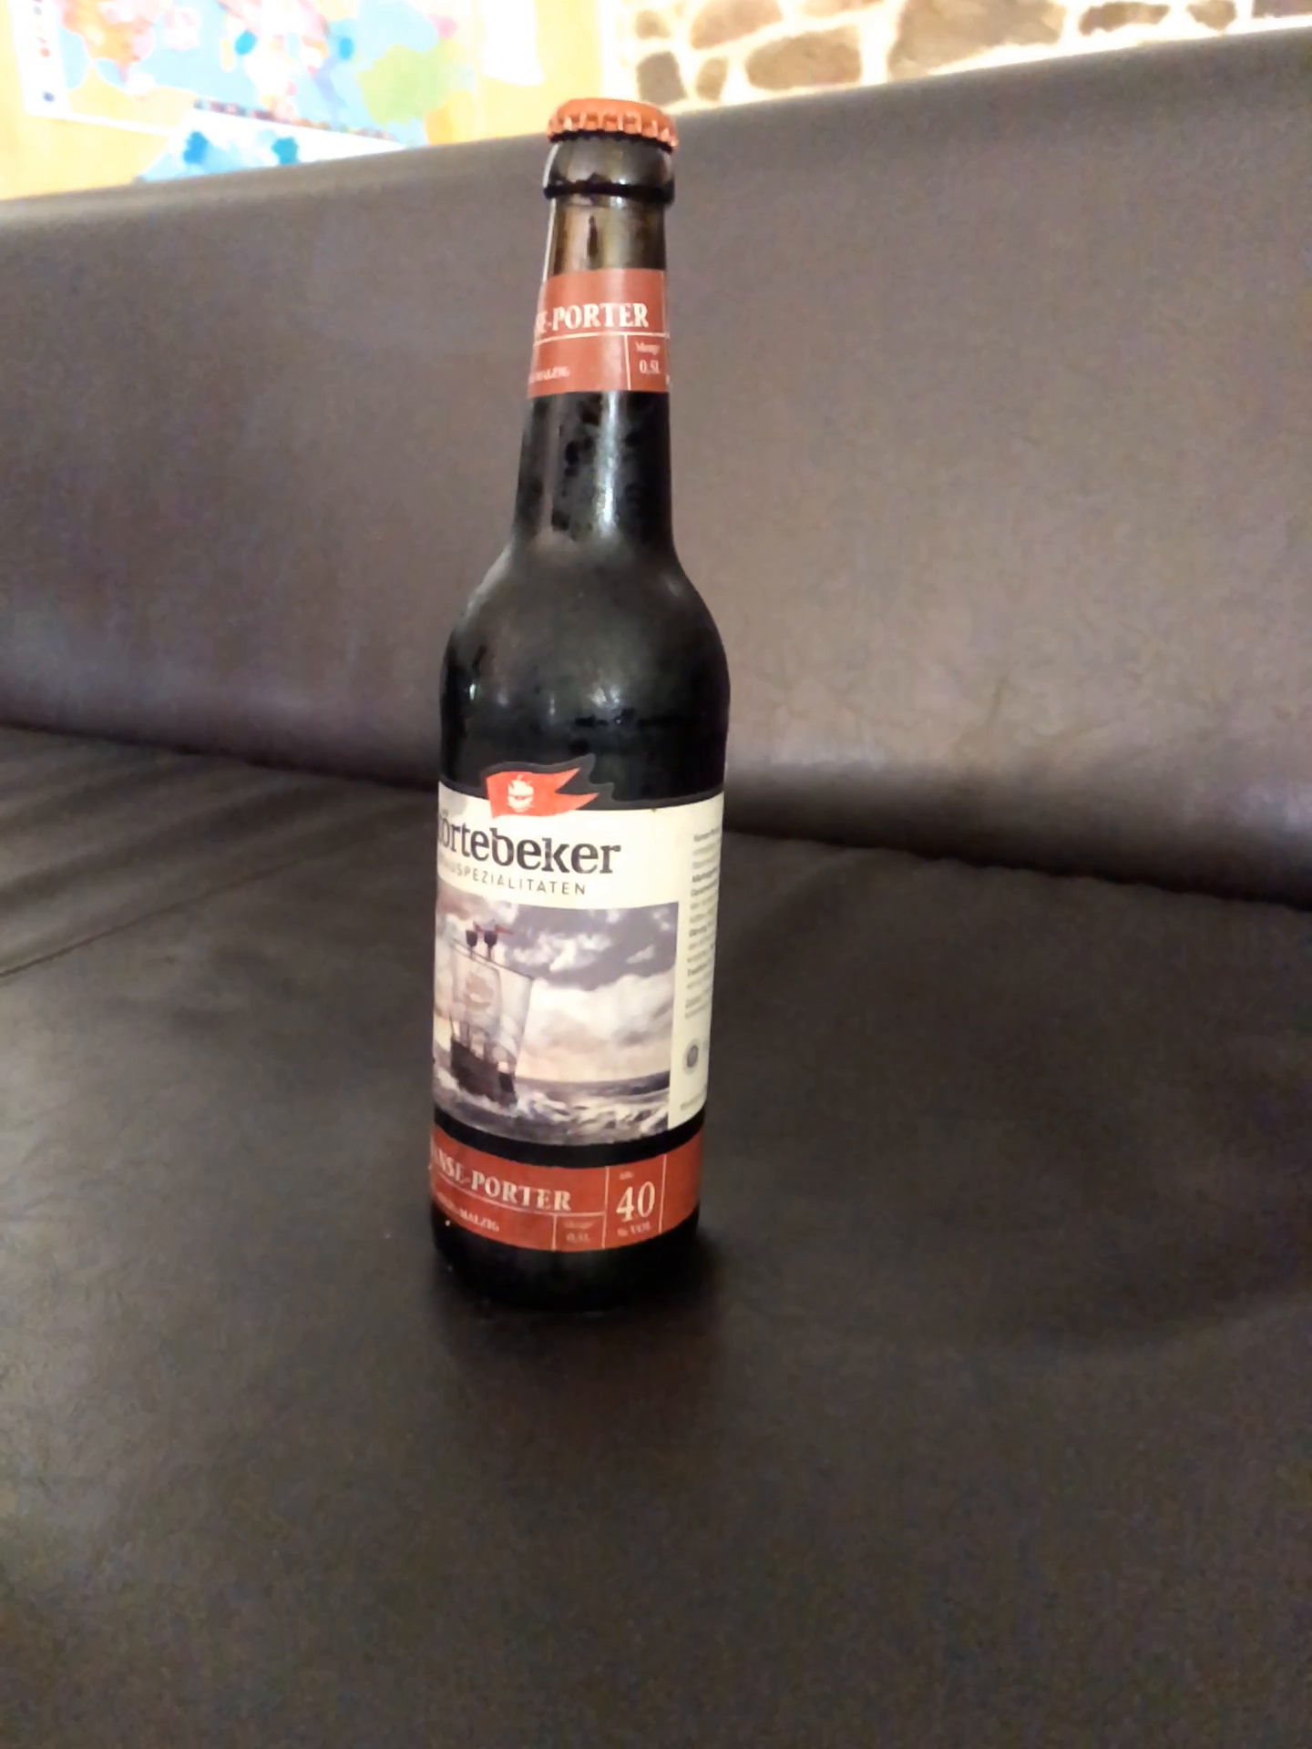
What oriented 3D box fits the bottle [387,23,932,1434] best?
[{"bbox_3d":[-0.002,-0.026,0.338,0.080,0.279,0.080,1,16,0],"label":"bottle"}]
